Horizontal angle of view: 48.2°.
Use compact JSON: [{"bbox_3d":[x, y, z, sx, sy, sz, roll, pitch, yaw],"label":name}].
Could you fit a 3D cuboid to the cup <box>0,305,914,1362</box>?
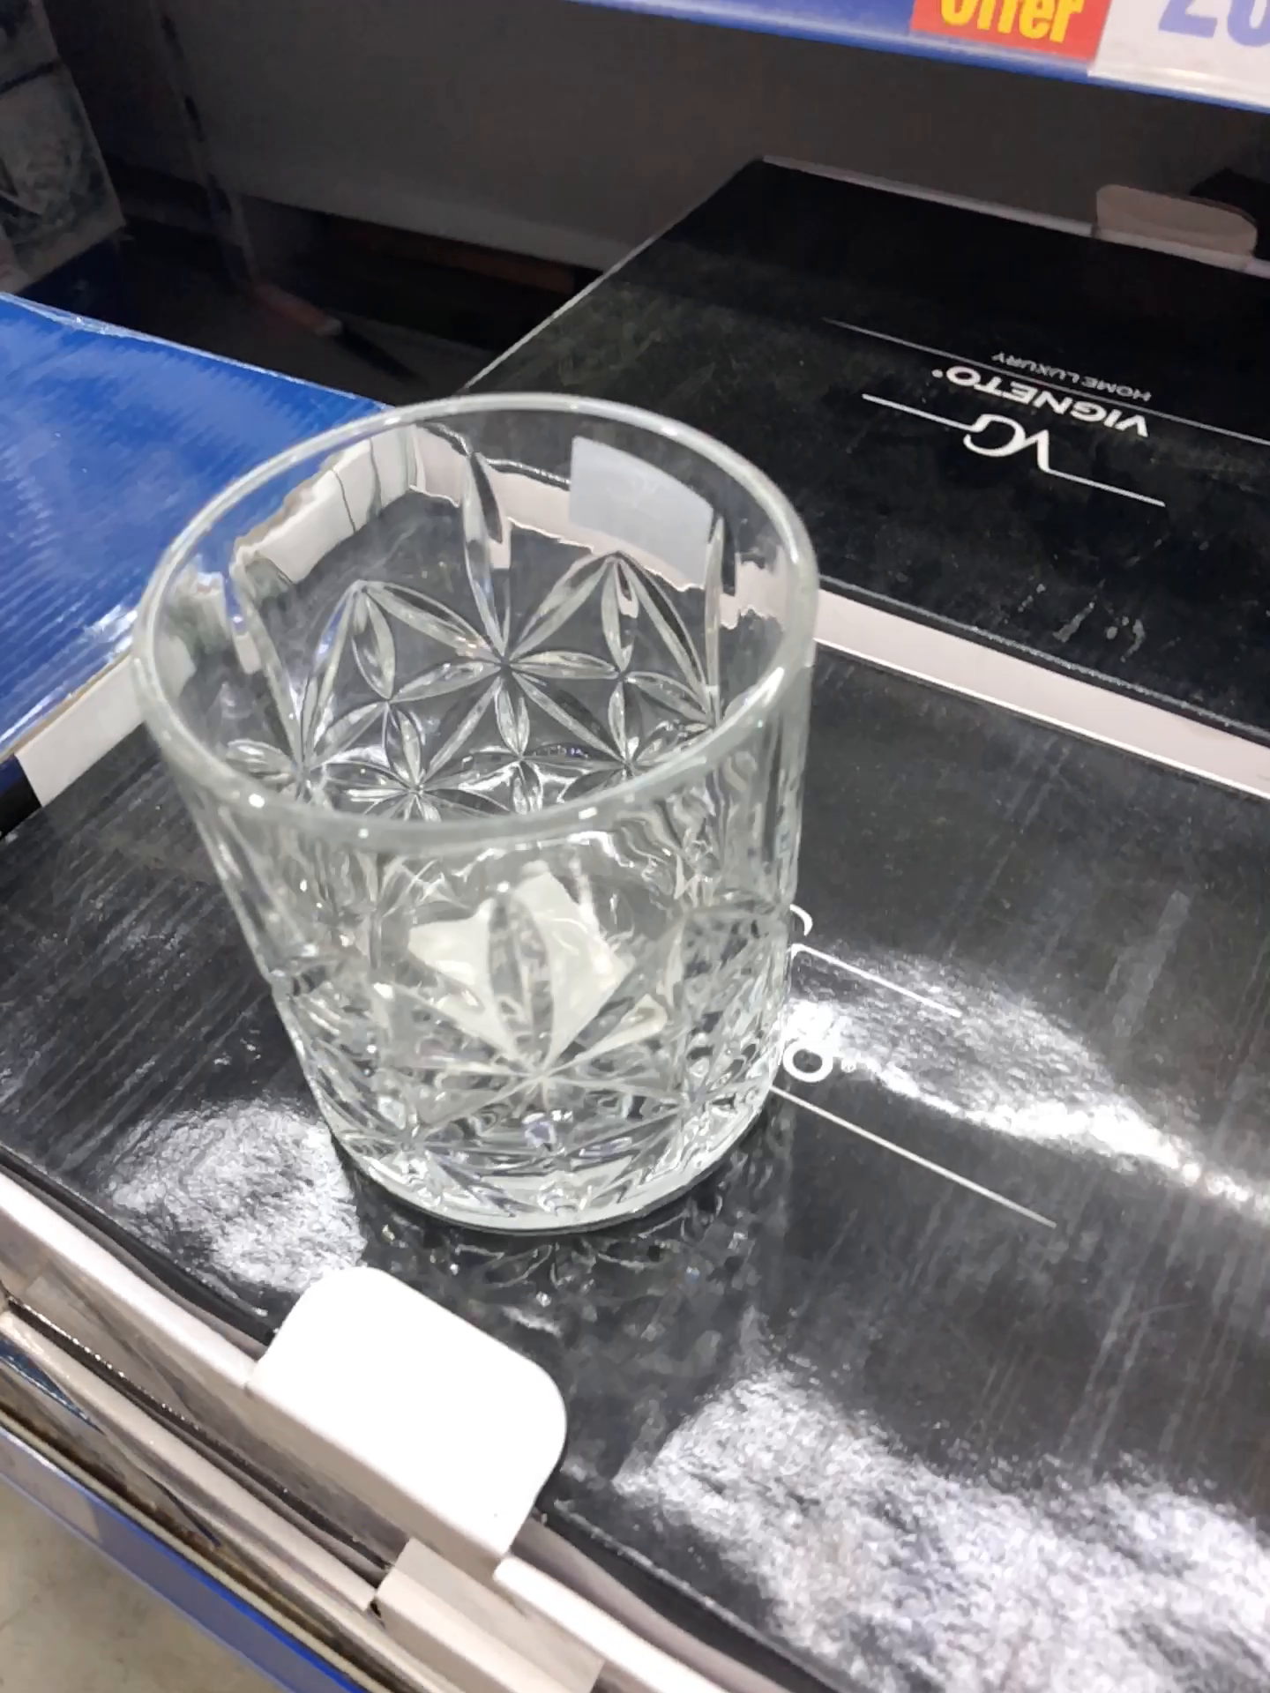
[{"bbox_3d":[-0.023,-0.004,0.213,0.100,0.100,0.100,-2,49,2],"label":"cup"}]
